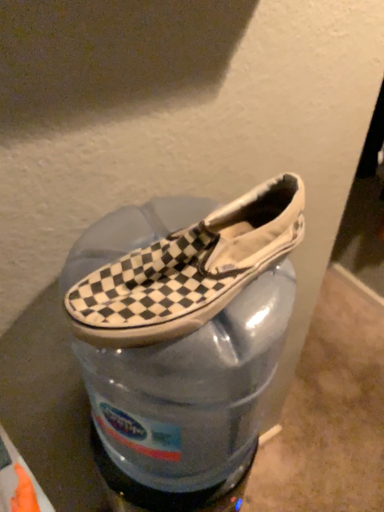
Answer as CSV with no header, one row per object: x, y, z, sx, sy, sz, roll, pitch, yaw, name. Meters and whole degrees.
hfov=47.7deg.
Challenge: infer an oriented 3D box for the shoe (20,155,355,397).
0.001,0.002,0.425,0.280,0.080,0.130,-22,48,-22,shoe
